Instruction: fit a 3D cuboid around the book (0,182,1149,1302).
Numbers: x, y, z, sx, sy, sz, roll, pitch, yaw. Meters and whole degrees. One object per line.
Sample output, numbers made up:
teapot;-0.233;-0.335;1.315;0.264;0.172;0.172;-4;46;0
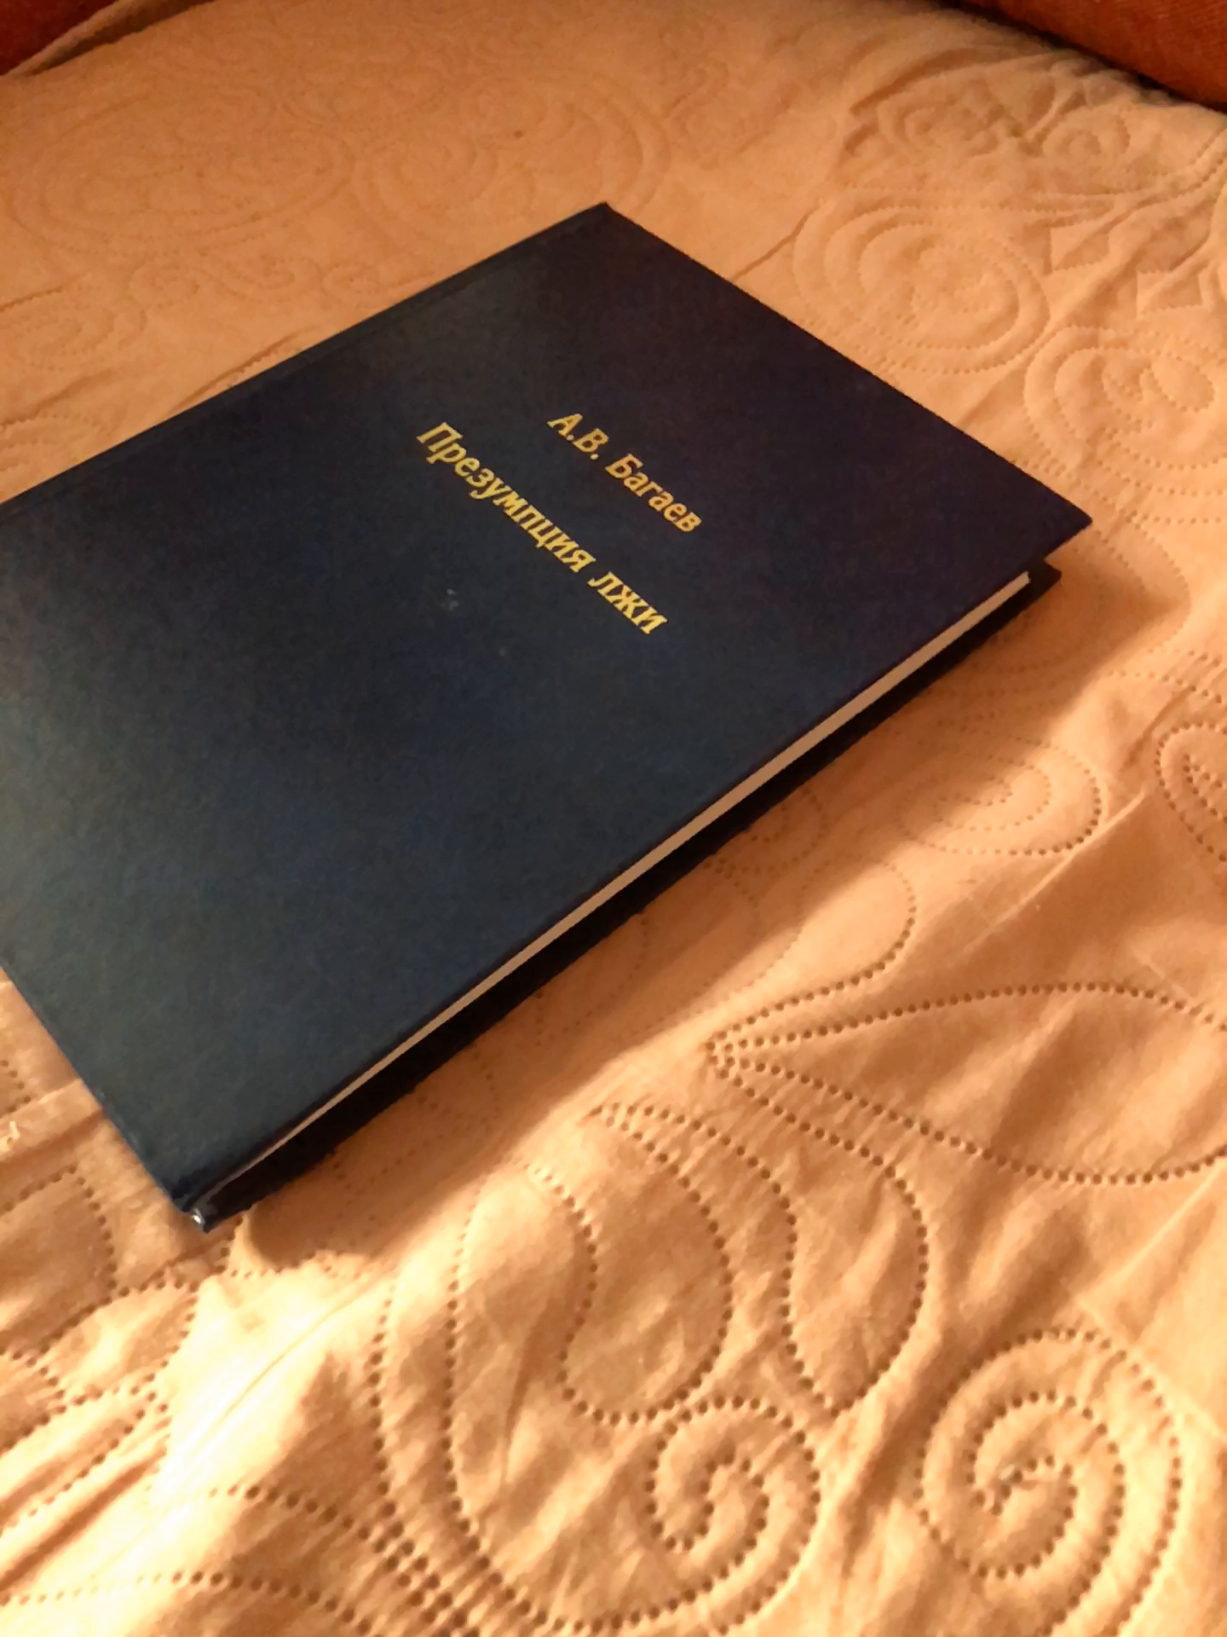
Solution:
book;-0.033;-0.049;0.317;0.261;0.030;0.180;-36;62;-22
